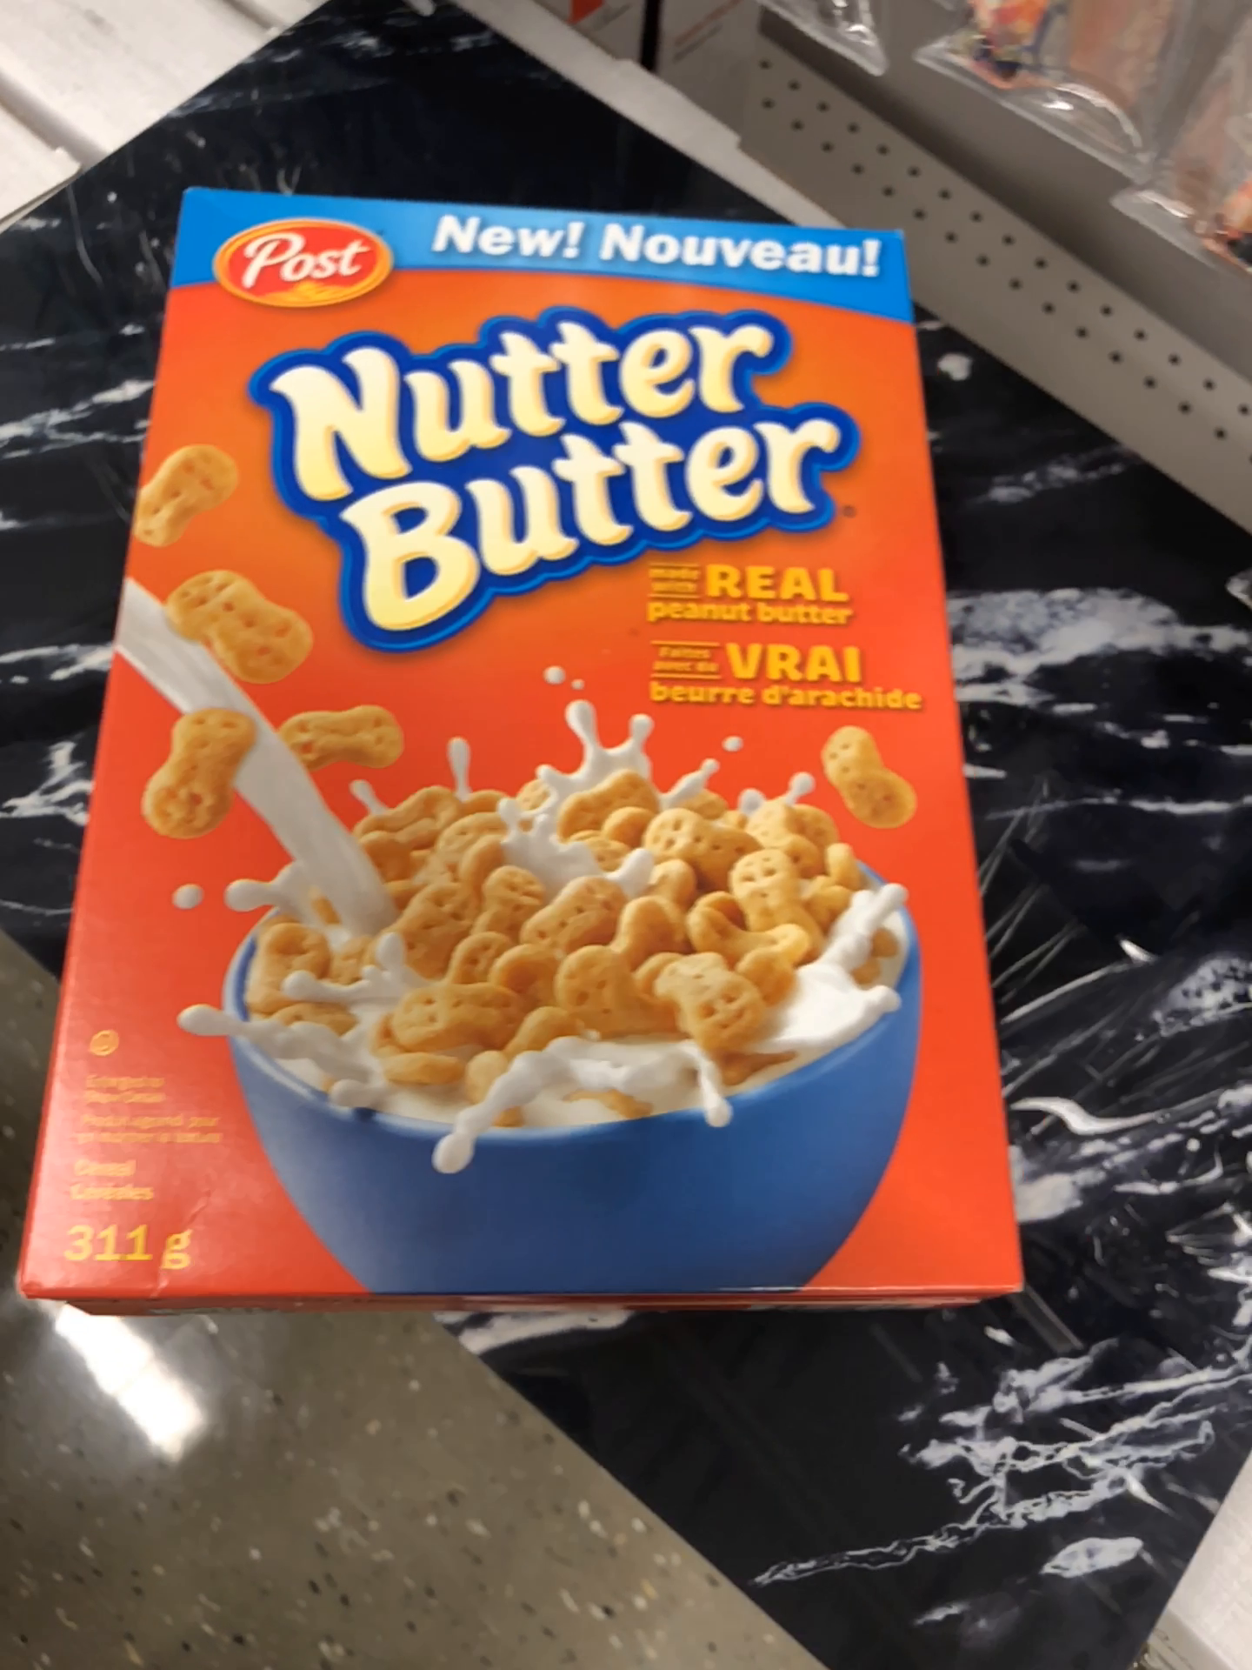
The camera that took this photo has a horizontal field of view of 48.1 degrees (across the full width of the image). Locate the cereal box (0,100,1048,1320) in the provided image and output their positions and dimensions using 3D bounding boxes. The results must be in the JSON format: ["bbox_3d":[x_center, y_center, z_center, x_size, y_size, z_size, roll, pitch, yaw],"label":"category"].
[{"bbox_3d":[-0.026,-0.042,0.342,0.210,0.050,0.300,1,69,-3],"label":"cereal box"}]
